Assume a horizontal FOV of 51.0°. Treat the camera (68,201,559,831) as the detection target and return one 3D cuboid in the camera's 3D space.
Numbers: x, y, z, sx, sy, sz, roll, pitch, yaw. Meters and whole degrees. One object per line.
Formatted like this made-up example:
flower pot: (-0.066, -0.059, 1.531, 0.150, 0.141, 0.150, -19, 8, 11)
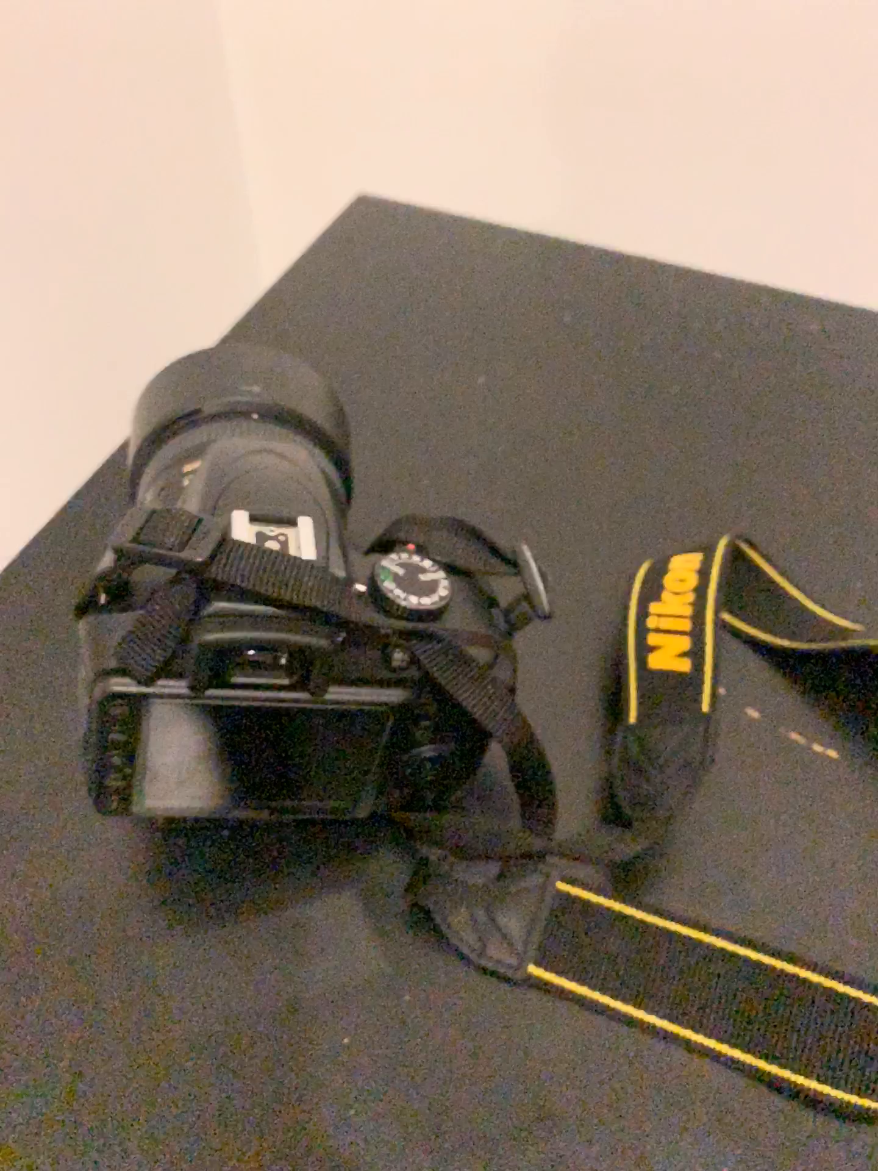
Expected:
camera: (-0.057, -0.035, 0.325, 0.116, 0.089, 0.221, 5, 42, -19)
